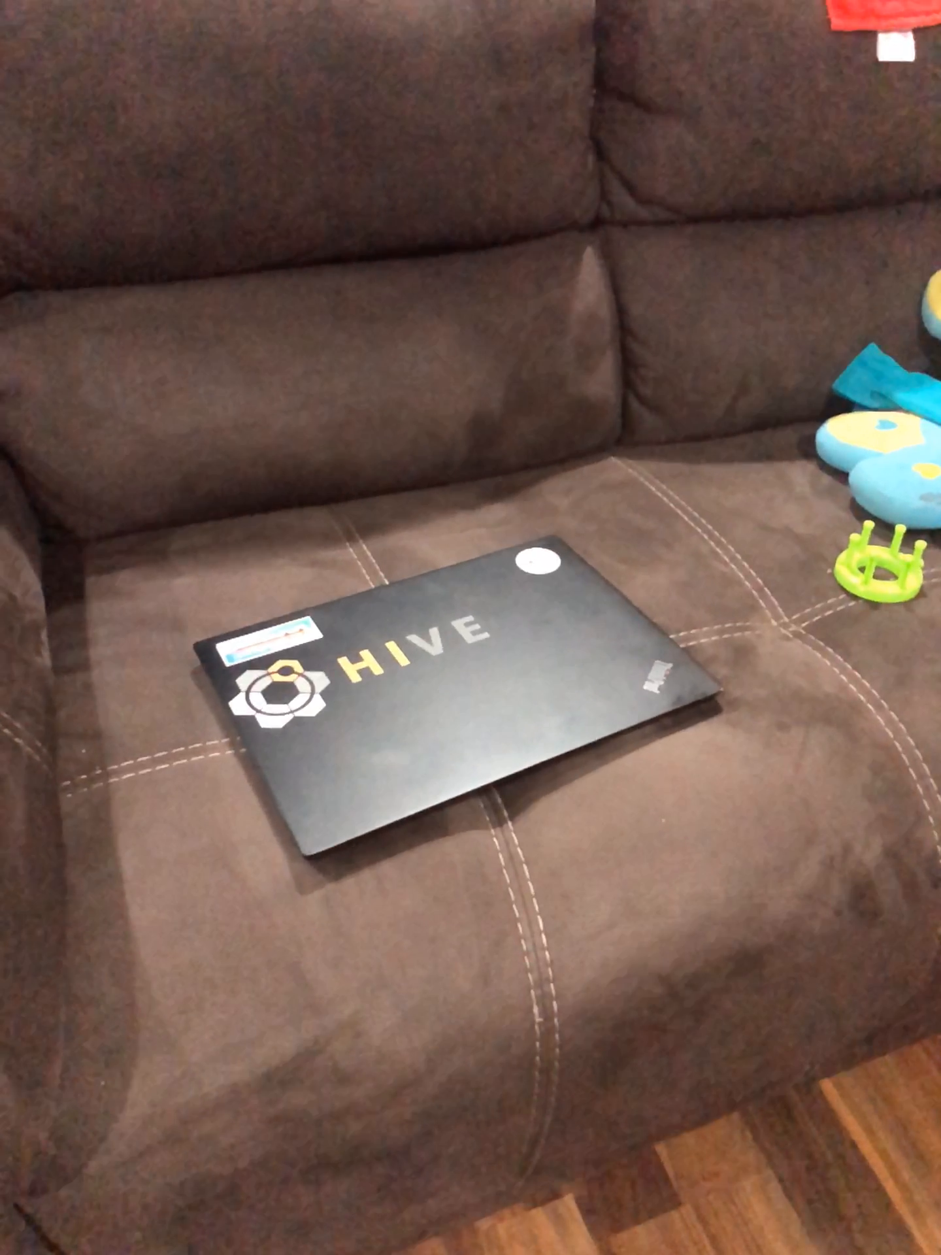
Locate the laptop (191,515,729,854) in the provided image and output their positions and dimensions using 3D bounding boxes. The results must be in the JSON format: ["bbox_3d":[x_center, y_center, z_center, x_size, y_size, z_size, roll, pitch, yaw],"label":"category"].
[{"bbox_3d":[-0.015,0.021,0.777,0.329,0.019,0.236,-19,41,-21],"label":"laptop"}]
